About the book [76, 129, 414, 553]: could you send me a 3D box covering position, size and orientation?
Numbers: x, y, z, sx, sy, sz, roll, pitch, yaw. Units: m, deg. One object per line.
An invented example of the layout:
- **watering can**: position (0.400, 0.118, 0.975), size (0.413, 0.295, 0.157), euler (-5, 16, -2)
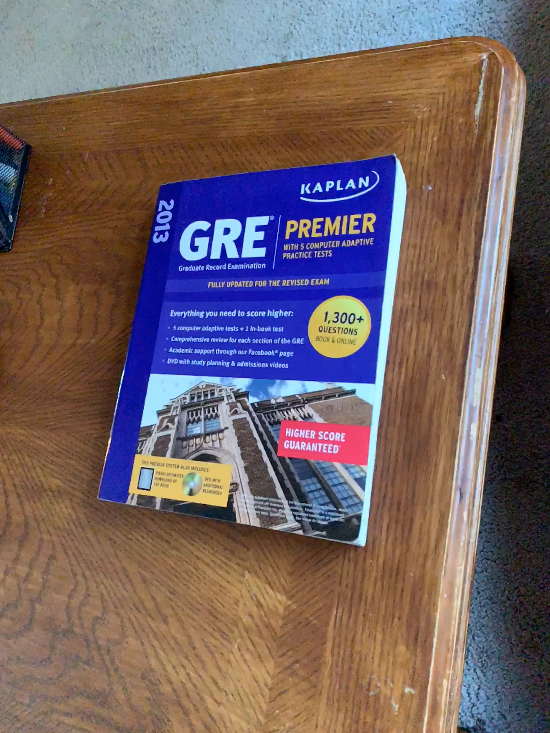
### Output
- **book**: position (-0.020, -0.026, 0.442), size (0.221, 0.060, 0.290), euler (3, 77, 24)
